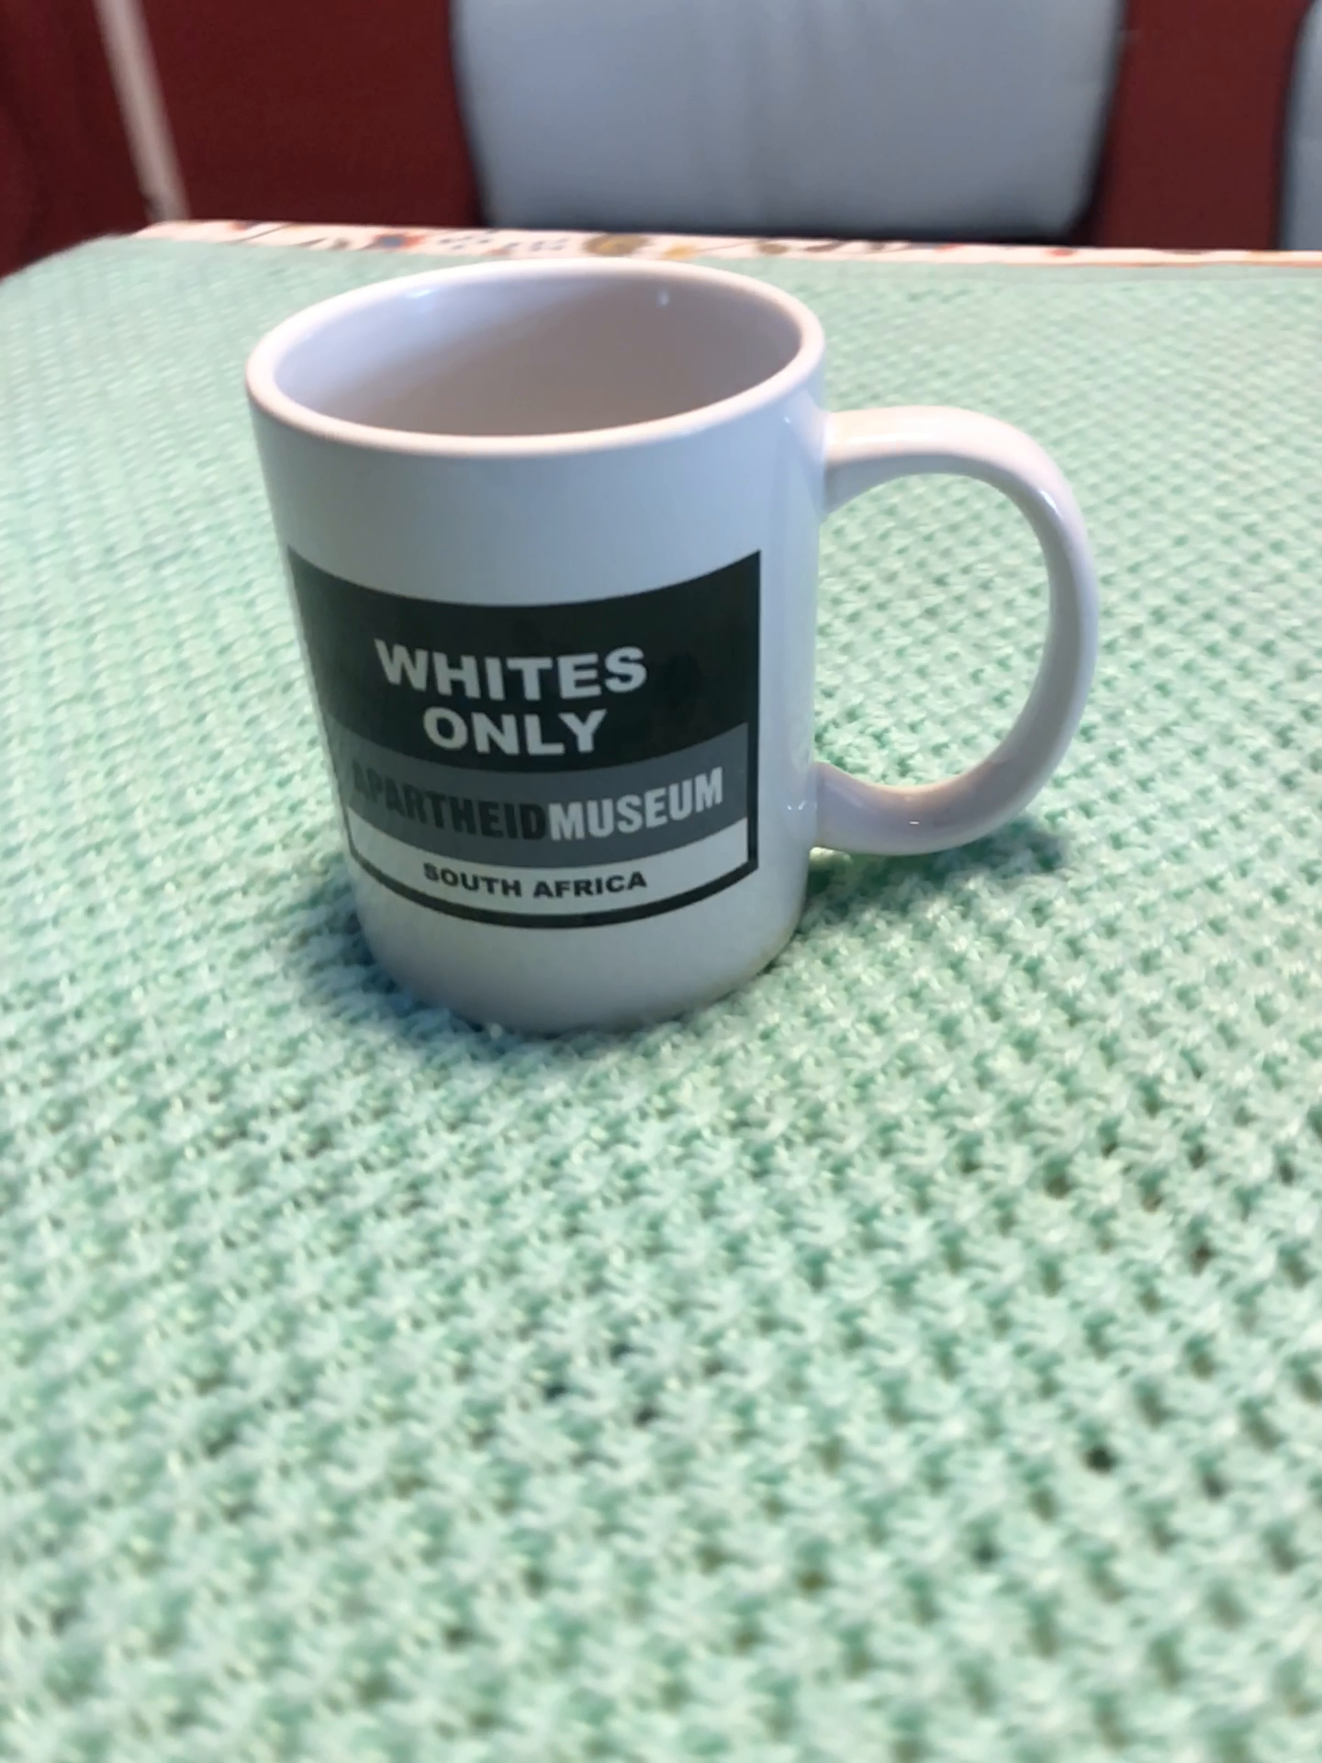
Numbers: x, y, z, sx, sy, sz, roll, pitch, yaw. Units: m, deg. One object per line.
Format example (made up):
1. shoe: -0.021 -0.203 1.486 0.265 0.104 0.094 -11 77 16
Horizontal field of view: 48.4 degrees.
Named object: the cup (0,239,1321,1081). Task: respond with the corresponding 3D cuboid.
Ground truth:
1. cup: 0.001 -0.037 0.214 0.140 0.079 0.101 1 38 4
